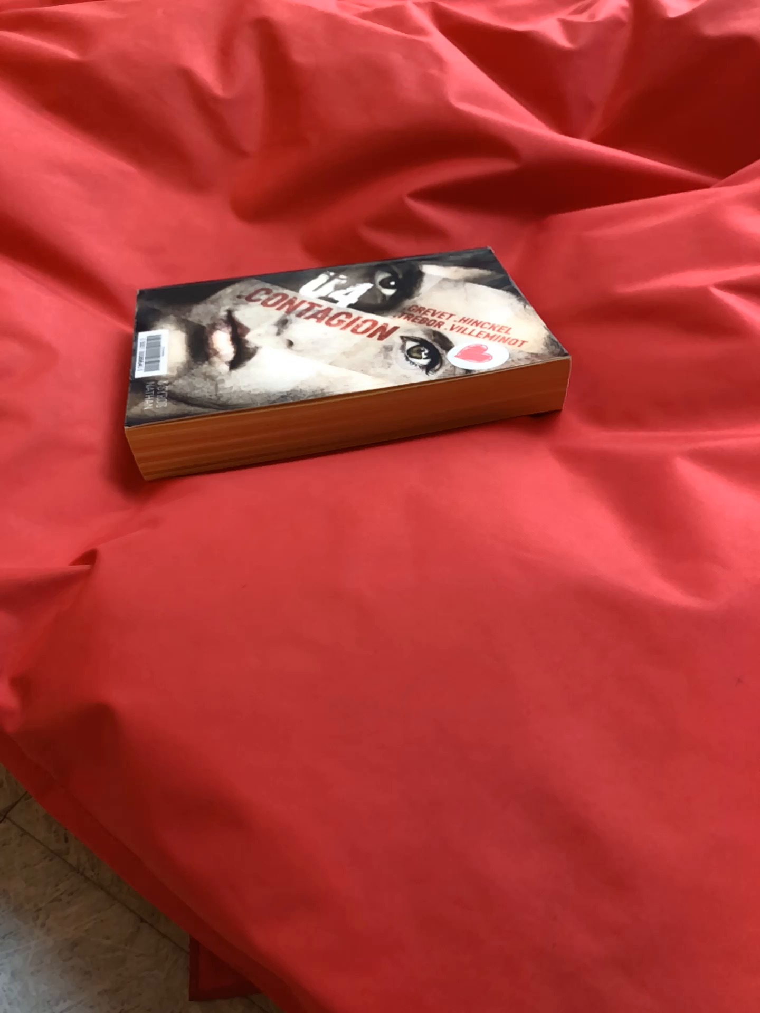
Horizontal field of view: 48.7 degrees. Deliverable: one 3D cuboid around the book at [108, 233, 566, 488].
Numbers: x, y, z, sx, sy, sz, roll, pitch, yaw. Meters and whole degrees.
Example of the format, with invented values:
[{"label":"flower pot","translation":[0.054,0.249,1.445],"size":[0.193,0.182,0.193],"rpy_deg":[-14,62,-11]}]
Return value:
[{"label":"book","translation":[-0.032,-0.094,0.481],"size":[0.225,0.038,0.167],"rpy_deg":[-10,40,-6]}]
